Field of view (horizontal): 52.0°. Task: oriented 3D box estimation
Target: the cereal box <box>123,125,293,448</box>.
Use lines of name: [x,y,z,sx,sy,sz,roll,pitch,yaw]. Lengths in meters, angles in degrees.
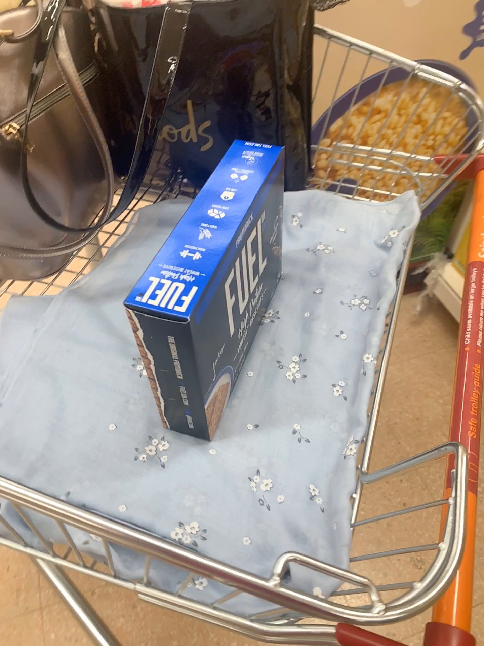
cereal box: [-0.018,-0.040,0.506,0.060,0.208,0.252,15,50,12]
